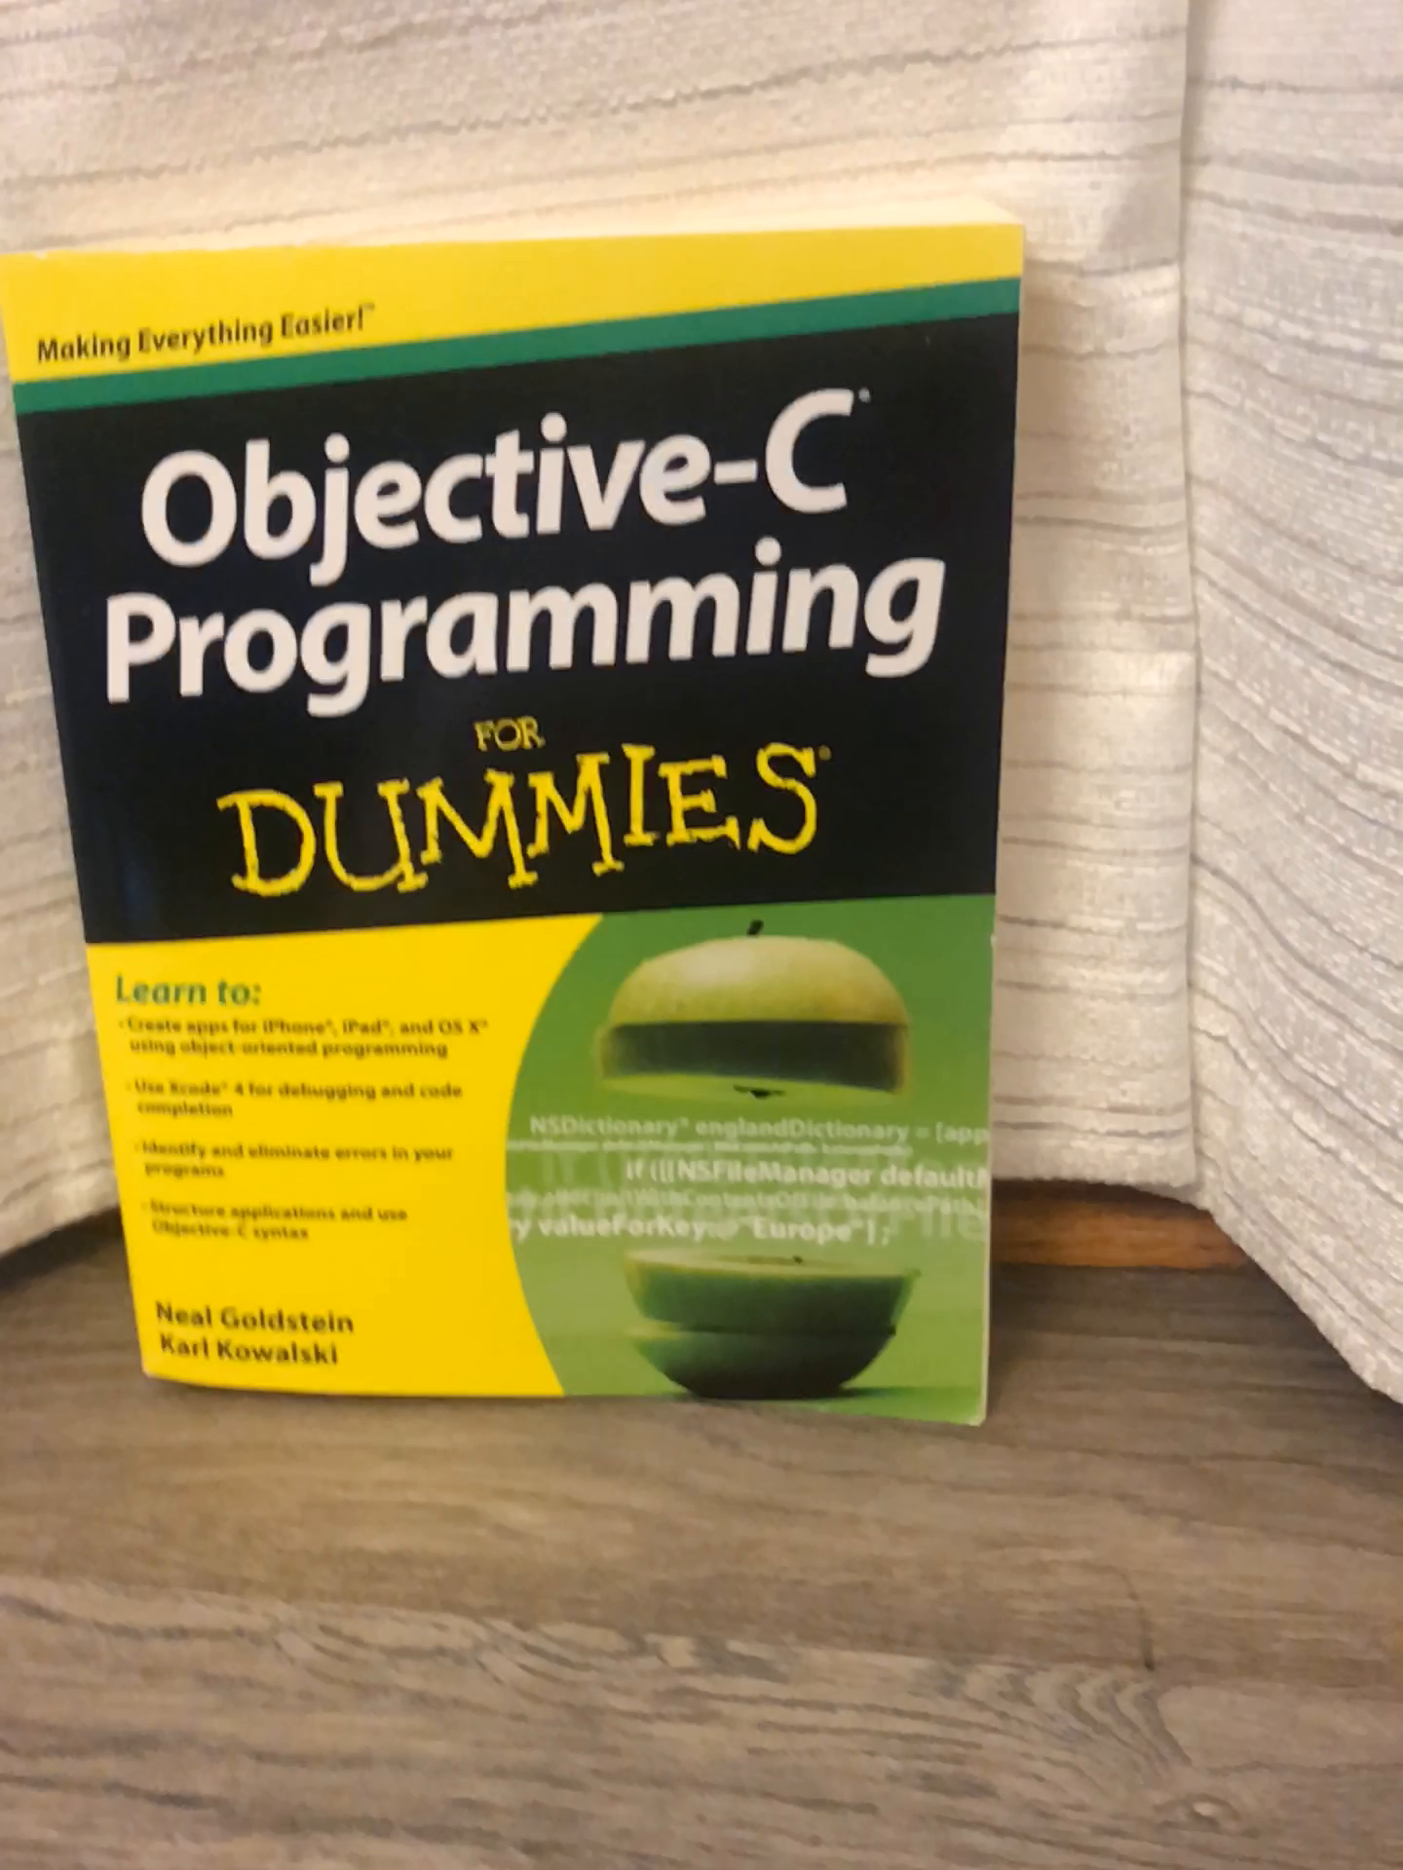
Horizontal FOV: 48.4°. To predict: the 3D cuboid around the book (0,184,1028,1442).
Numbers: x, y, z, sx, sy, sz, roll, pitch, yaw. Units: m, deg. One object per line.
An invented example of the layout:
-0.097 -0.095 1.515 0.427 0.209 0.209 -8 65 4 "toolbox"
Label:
-0.033 -0.013 0.306 0.183 0.230 0.033 -1 17 7 "book"
